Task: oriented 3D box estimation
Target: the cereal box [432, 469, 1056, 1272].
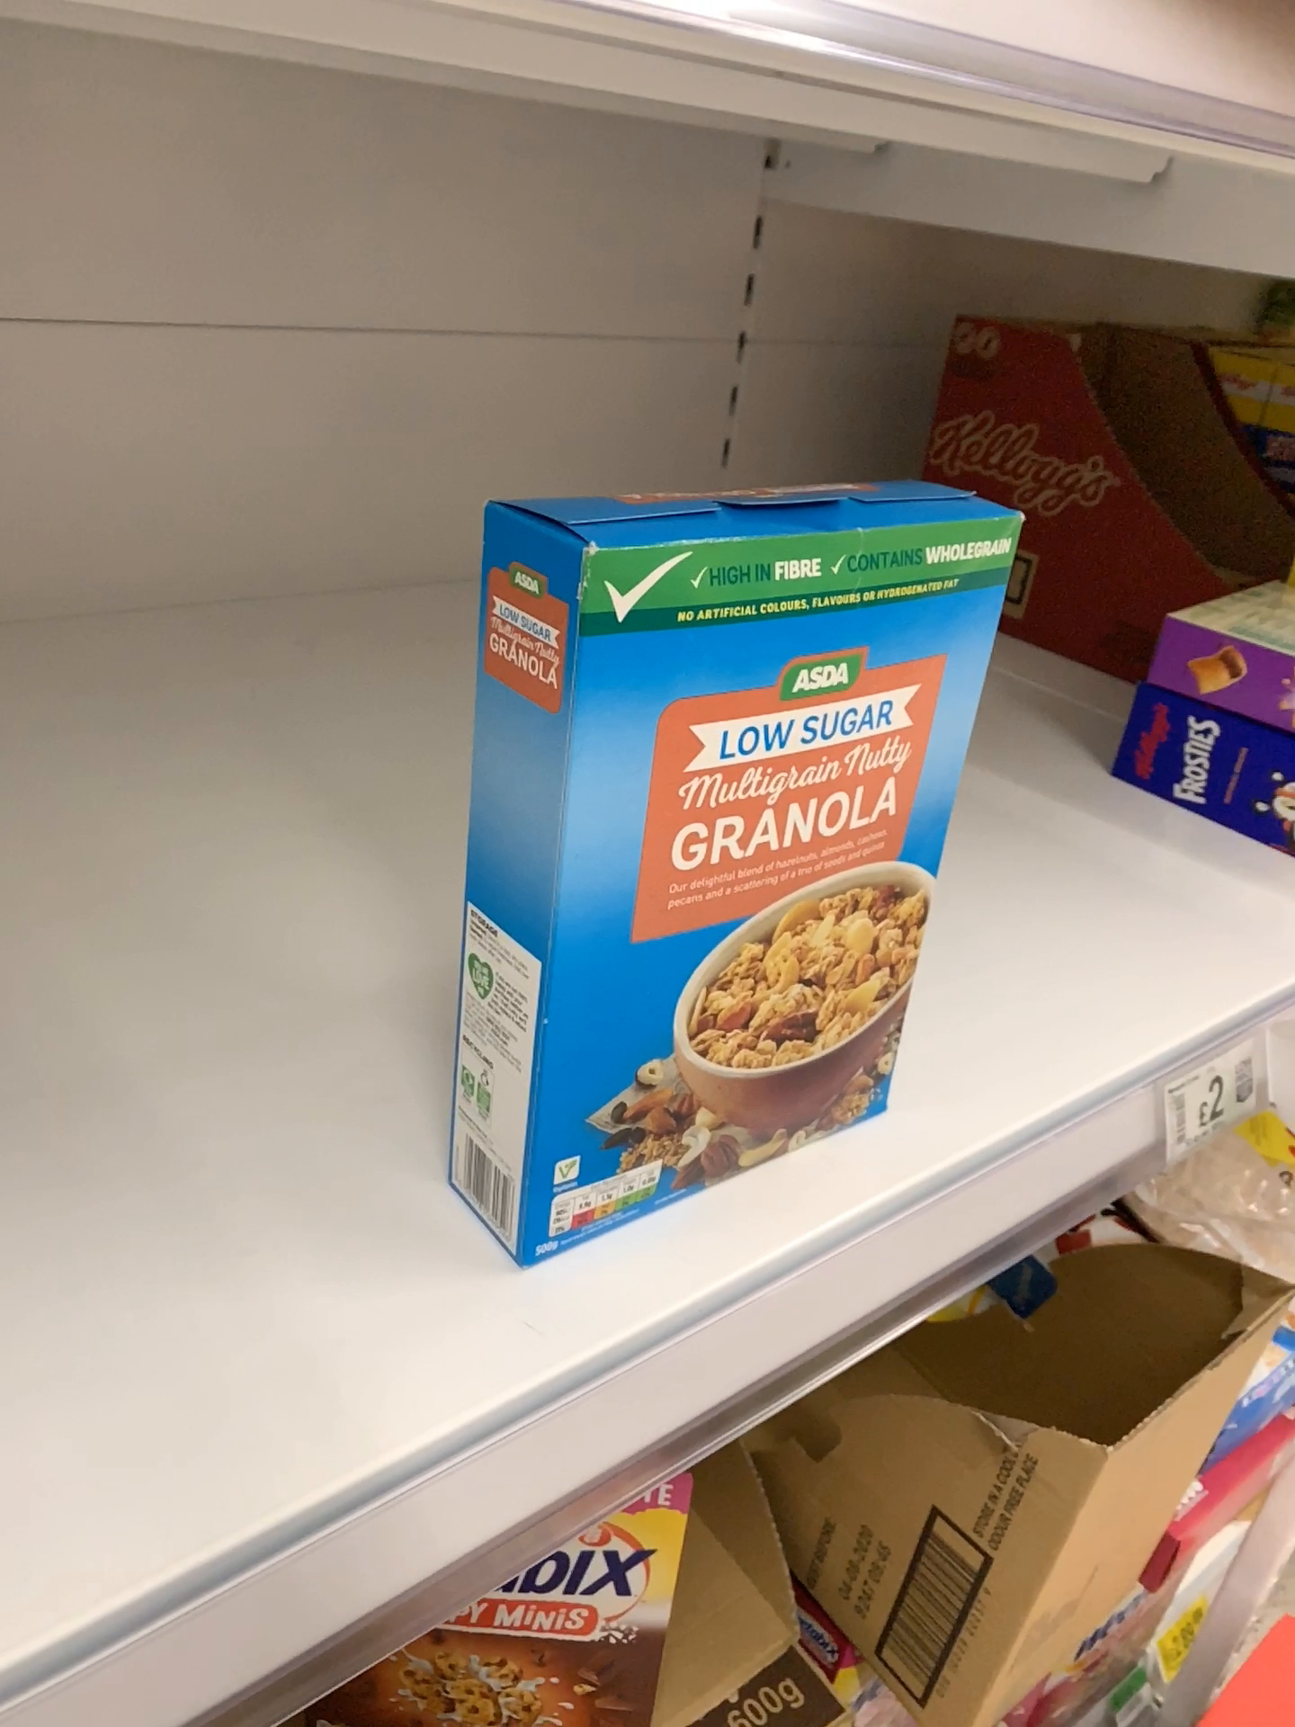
[{"bbox_3d":[0.029,-0.004,0.470,0.191,0.248,0.060,-14,34,-36],"label":"cereal box"}]
